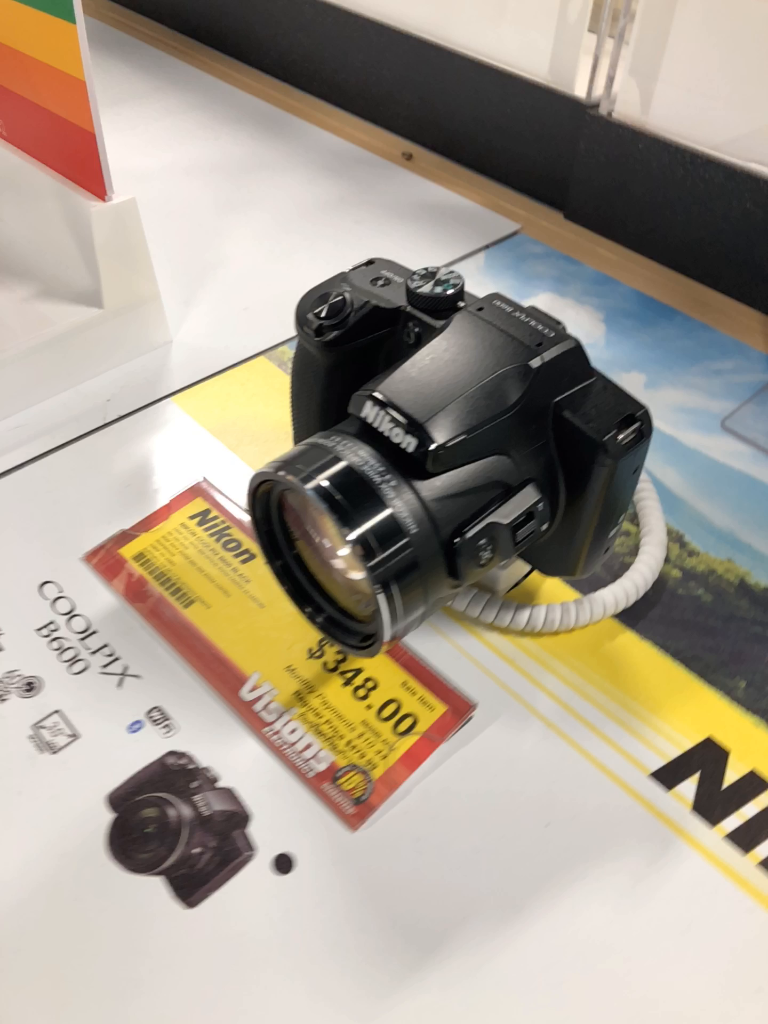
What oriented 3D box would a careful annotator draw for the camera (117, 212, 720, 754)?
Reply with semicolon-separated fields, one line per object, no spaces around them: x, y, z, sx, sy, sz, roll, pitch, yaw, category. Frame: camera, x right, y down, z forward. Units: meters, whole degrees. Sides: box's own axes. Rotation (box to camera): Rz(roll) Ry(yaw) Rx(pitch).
0.006;-0.020;0.262;0.110;0.070;0.131;-32;55;-30;camera
